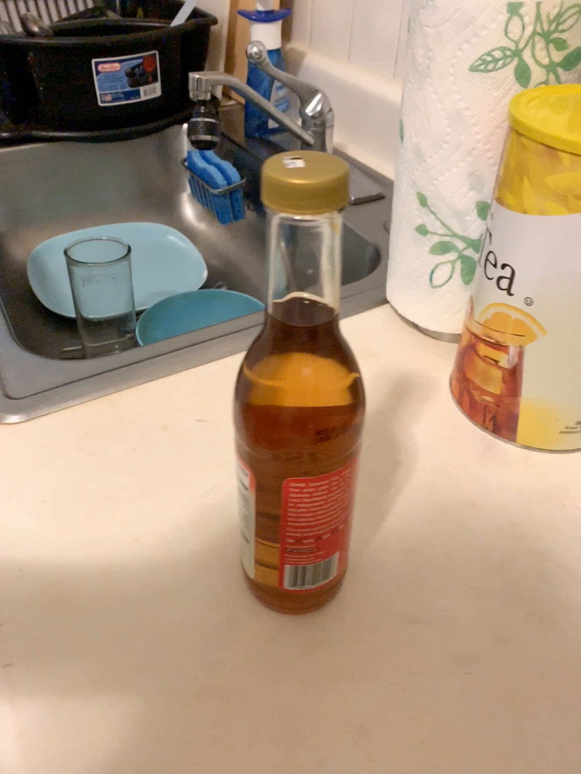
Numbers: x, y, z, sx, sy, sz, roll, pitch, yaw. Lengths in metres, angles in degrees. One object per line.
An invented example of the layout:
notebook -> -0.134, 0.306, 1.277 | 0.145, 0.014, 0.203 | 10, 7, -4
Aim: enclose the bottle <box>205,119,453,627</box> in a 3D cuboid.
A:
bottle -> 0.007, 0.015, 0.273 | 0.070, 0.239, 0.070 | 1, 41, -1
